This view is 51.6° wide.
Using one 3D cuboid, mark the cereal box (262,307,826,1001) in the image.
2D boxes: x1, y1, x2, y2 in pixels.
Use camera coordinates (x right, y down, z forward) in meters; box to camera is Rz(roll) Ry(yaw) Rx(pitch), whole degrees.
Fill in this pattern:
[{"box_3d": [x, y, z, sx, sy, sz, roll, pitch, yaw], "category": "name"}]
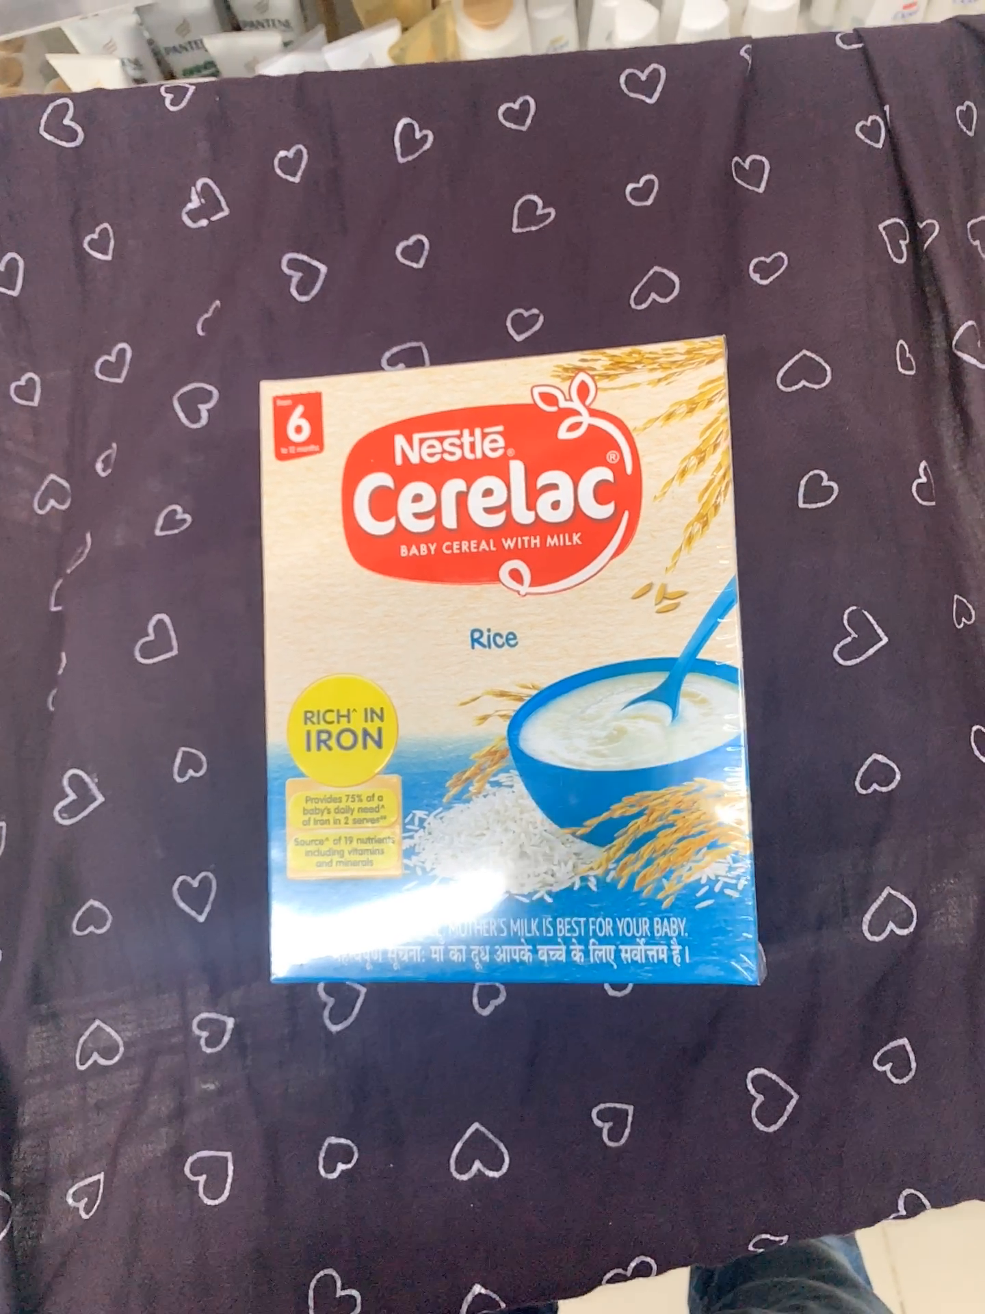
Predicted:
[{"box_3d": [0.012, 0.002, 0.326, 0.160, 0.040, 0.200, -4, 84, 9], "category": "cereal box"}]
